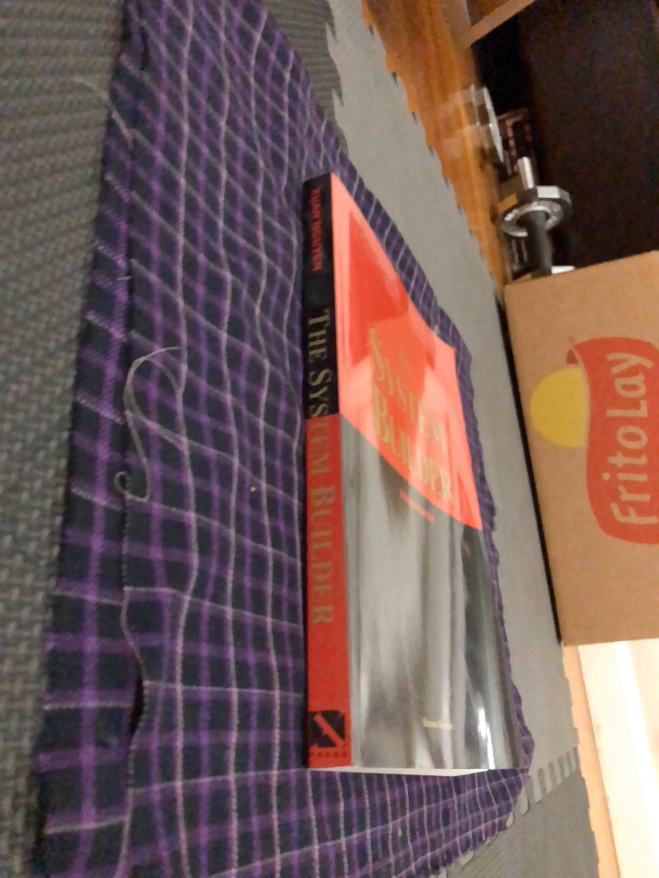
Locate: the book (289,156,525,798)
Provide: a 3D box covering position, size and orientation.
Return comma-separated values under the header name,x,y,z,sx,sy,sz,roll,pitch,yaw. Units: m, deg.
name,x,y,z,sx,sy,sz,roll,pitch,yaw
book,0.042,0.030,0.362,0.201,0.030,0.260,41,41,-55
